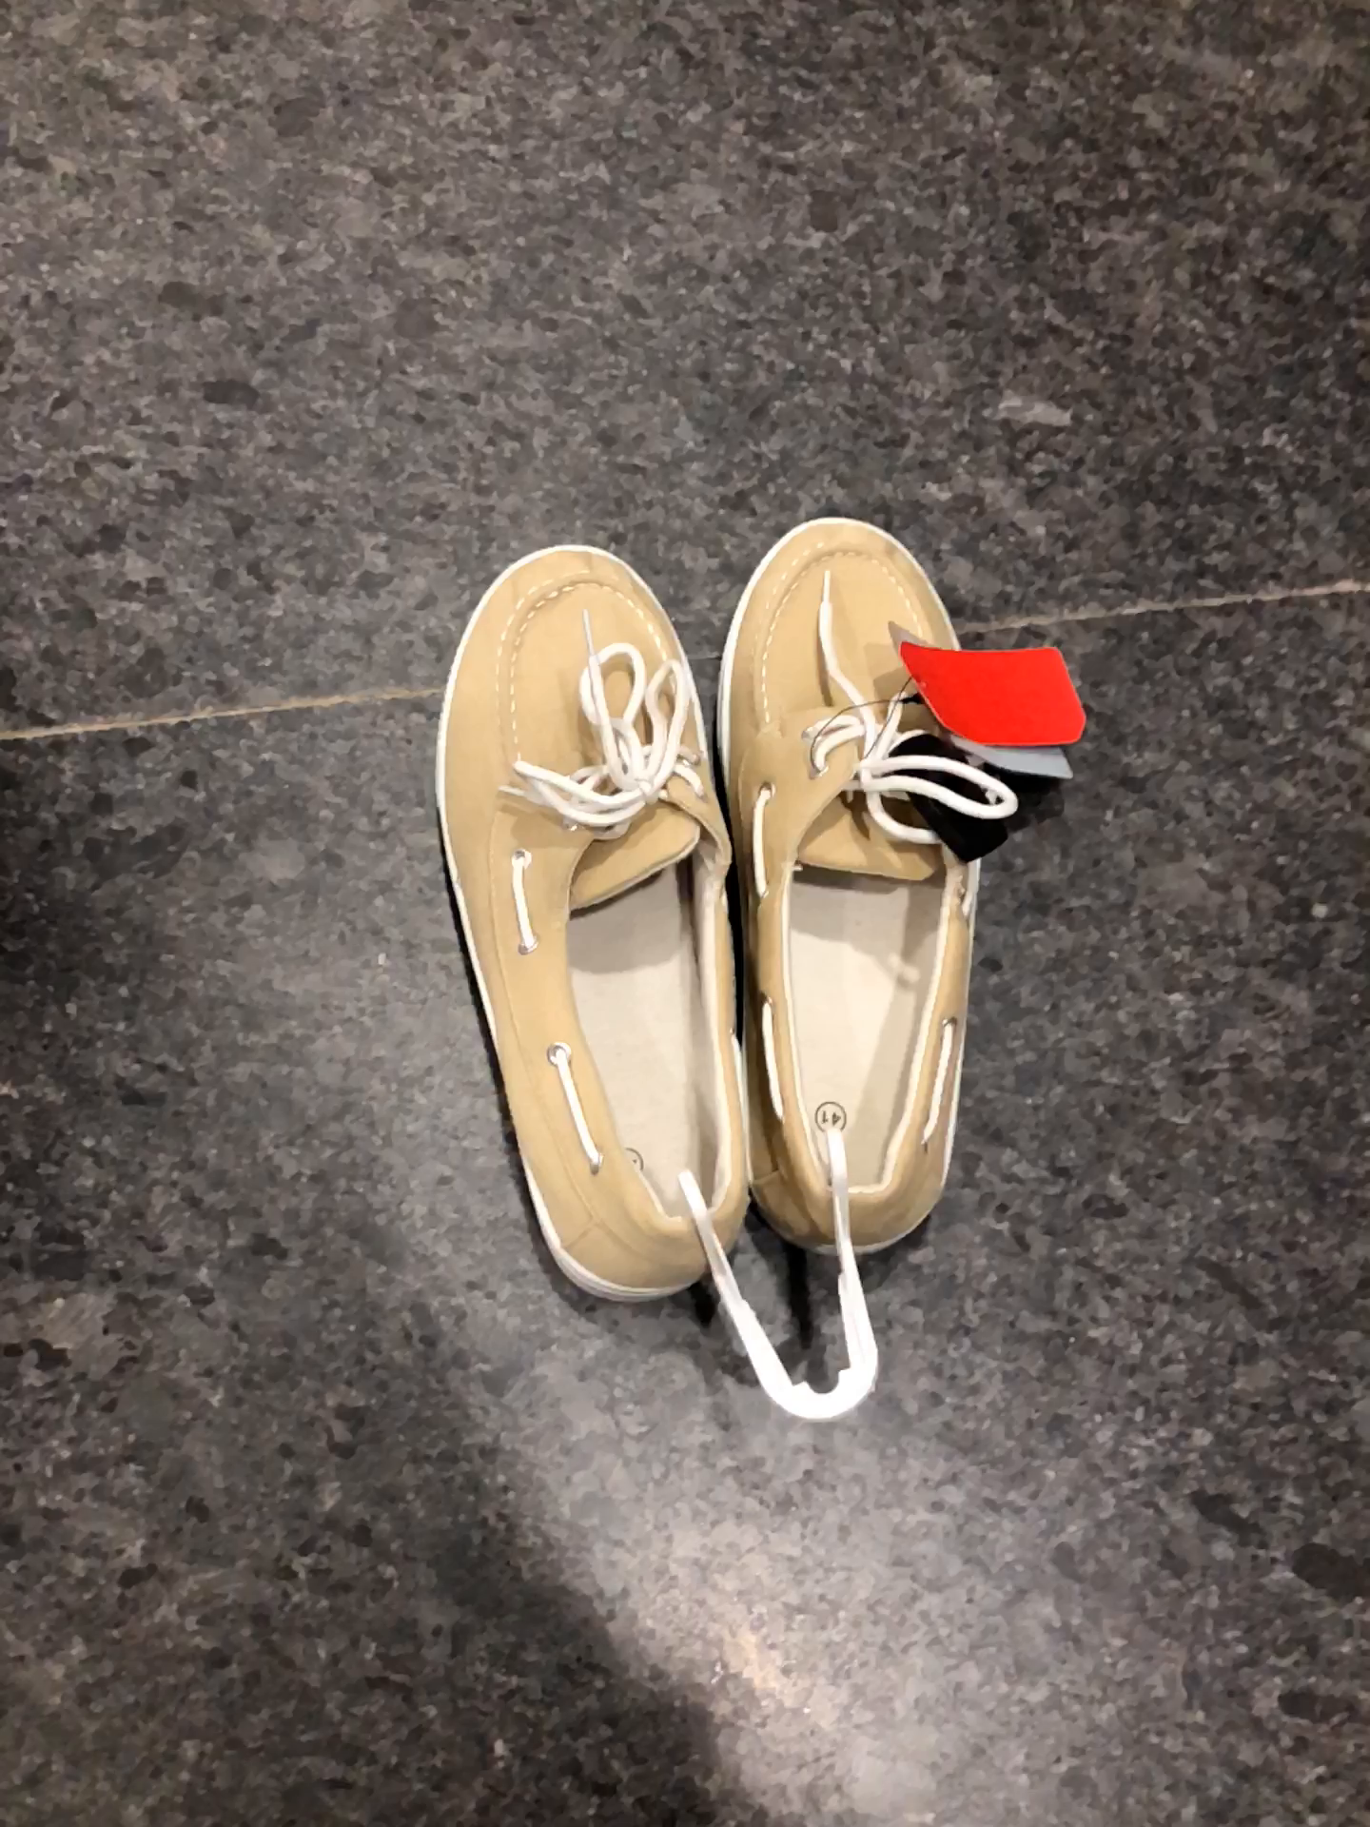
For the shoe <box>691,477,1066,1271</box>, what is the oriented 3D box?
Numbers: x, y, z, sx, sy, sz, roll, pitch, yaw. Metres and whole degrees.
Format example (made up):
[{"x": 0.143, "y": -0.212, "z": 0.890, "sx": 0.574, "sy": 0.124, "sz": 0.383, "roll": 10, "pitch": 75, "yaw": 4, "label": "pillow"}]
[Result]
[{"x": 0.057, "y": -0.010, "z": 0.511, "sx": 0.096, "sy": 0.106, "sz": 0.242, "roll": 3, "pitch": 70, "yaw": -4, "label": "shoe"}]

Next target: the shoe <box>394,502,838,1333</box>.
[{"x": -0.029, "y": 0.002, "z": 0.495, "sx": 0.103, "sy": 0.106, "sz": 0.242, "roll": -6, "pitch": 71, "yaw": -7, "label": "shoe"}]
